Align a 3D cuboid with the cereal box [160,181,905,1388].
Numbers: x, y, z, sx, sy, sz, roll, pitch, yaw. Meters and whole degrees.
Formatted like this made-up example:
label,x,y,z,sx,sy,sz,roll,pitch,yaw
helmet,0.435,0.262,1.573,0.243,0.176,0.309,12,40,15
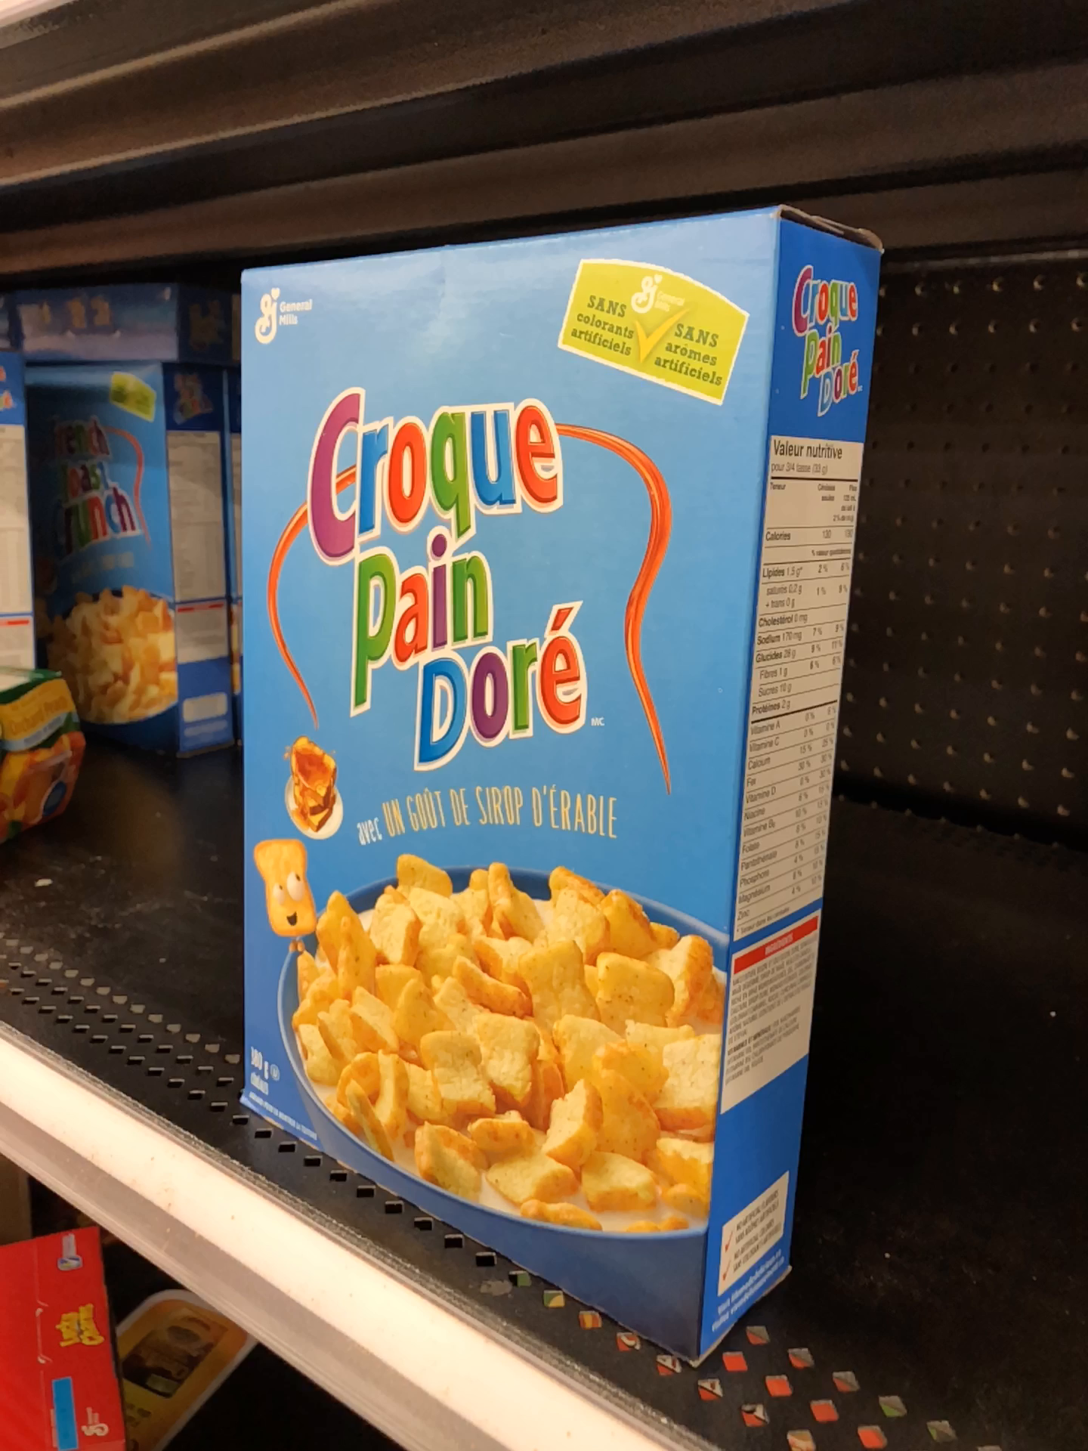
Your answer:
label,x,y,z,sx,sy,sz,roll,pitch,yaw
cereal box,-0.020,0.005,0.348,0.210,0.269,0.060,12,15,39
